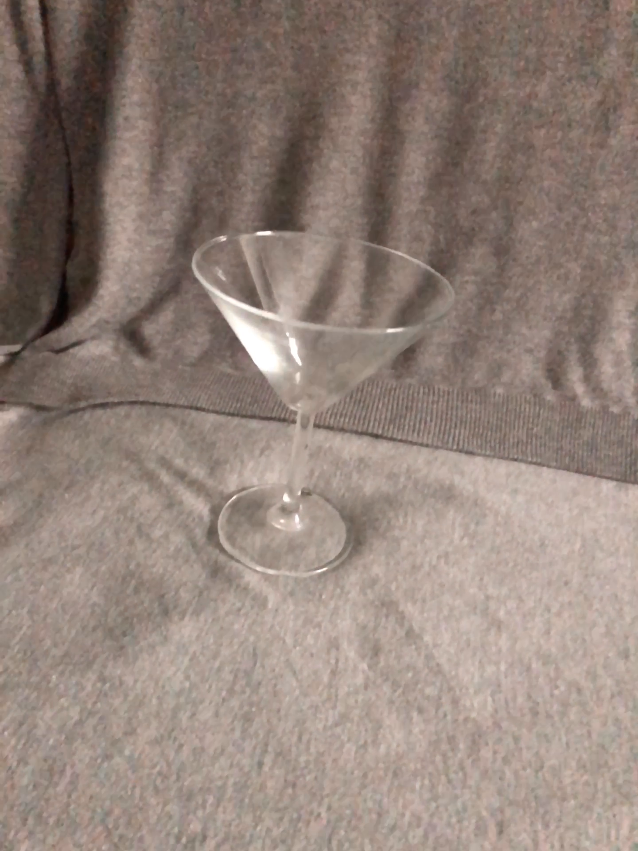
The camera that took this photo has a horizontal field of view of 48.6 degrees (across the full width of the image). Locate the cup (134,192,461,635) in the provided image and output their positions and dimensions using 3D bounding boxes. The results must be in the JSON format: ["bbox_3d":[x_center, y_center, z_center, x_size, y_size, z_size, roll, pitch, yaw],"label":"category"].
[{"bbox_3d":[-0.011,-0.008,0.343,0.113,0.157,0.112,8,34,-6],"label":"cup"}]
